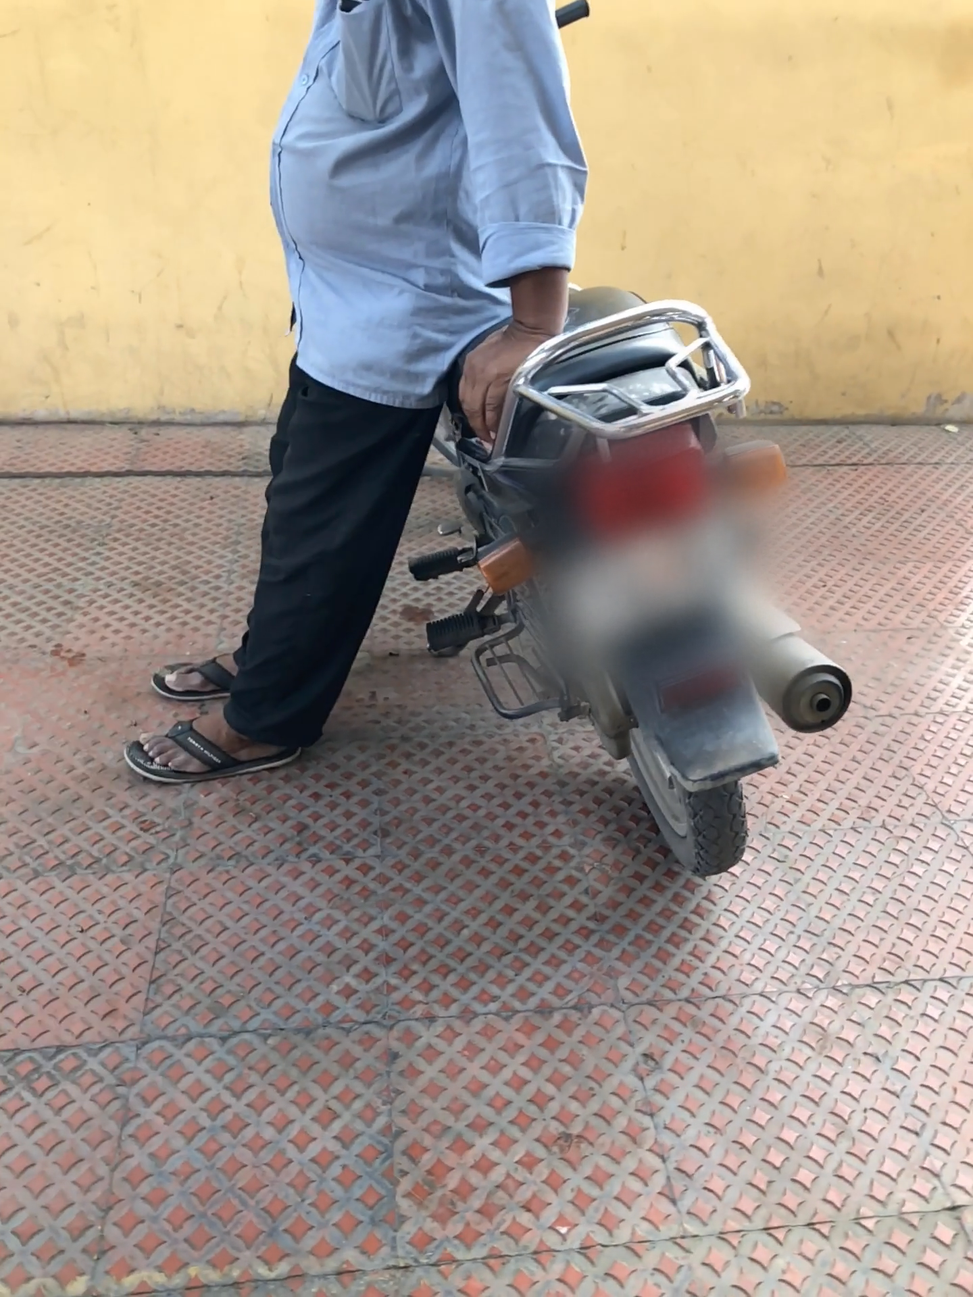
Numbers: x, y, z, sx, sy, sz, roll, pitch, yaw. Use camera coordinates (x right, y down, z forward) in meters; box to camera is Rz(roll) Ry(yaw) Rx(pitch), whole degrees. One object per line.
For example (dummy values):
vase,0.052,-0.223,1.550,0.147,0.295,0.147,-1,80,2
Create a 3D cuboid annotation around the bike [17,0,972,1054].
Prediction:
bike,-0.157,-0.477,1.711,0.922,1.007,1.681,-9,35,-17
